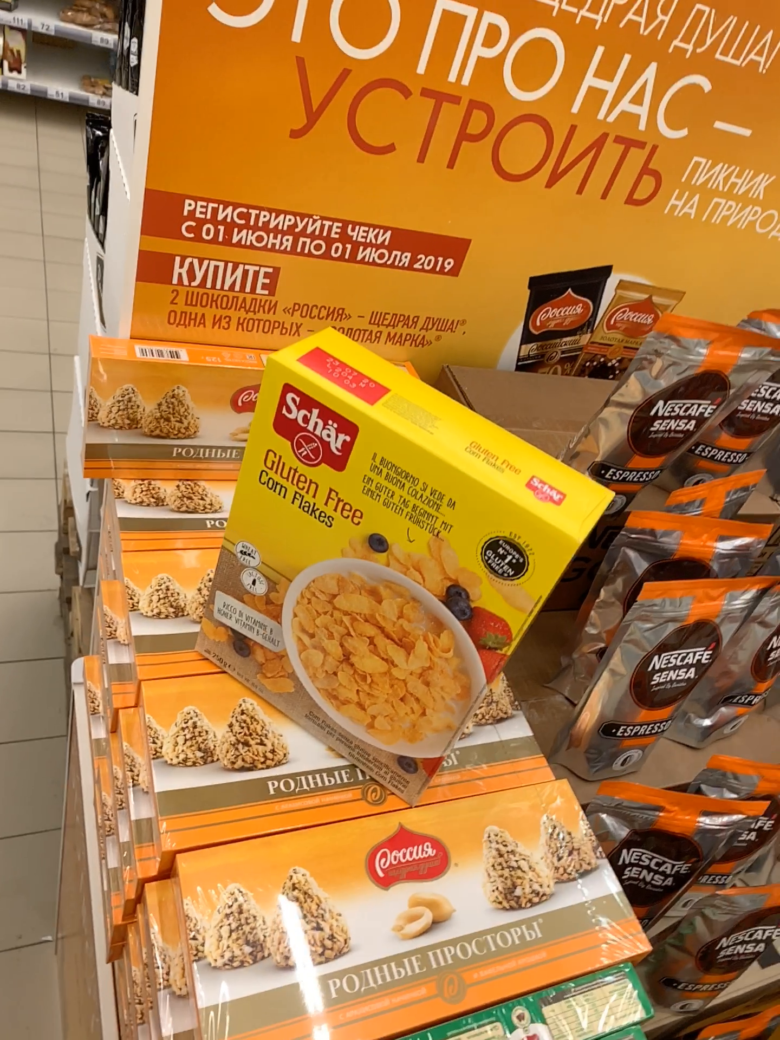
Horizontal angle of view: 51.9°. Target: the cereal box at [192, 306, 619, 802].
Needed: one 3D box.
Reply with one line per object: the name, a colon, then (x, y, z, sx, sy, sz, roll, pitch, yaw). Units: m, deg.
cereal box: (-0.012, 0.033, 0.510, 0.200, 0.258, 0.060, 32, 40, 13)
